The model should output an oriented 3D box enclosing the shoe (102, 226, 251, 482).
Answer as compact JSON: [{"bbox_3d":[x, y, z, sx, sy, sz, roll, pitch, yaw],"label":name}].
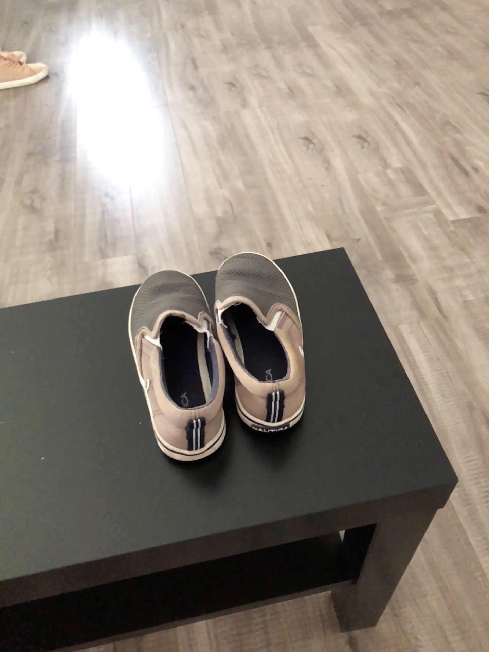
[{"bbox_3d":[-0.059,0.012,0.429,0.077,0.070,0.191,-13,48,-8],"label":"shoe"}]

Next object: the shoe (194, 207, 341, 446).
[{"bbox_3d":[0.012,-0.009,0.446,0.077,0.070,0.191,-9,48,-4],"label":"shoe"}]
